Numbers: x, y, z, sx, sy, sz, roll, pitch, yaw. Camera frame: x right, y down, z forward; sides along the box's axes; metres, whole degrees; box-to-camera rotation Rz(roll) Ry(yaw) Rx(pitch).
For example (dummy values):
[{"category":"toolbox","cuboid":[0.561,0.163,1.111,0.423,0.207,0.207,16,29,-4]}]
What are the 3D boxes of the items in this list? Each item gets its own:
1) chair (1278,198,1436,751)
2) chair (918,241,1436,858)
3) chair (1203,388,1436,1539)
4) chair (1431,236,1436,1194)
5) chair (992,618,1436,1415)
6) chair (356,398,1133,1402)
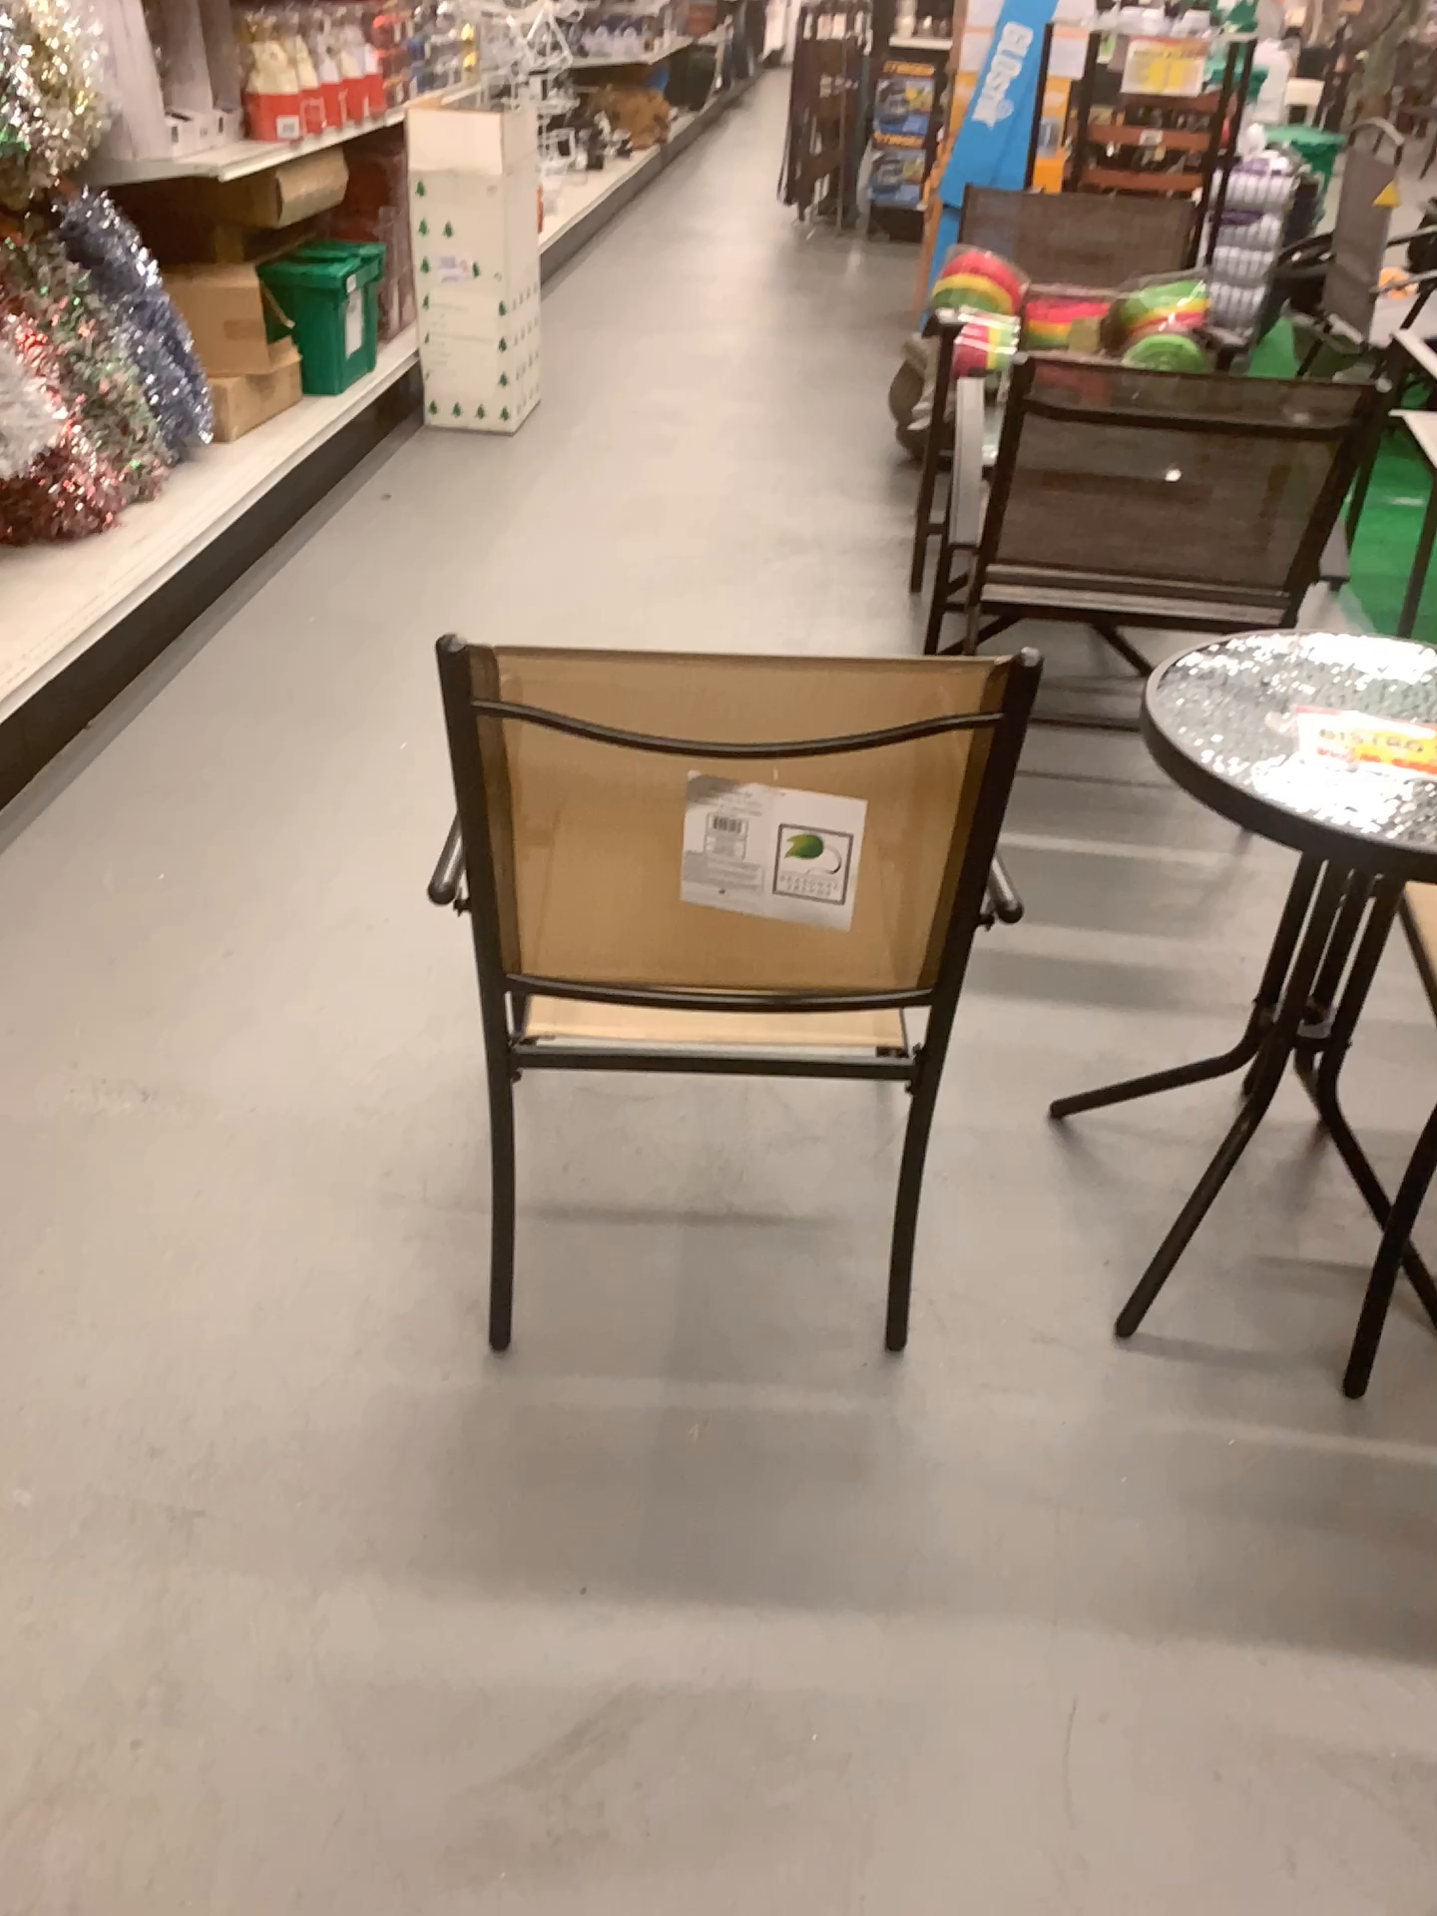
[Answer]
[{"category":"chair","cuboid":[1.816,-1.113,3.285,0.674,0.922,0.890,6,35,3]},{"category":"chair","cuboid":[0.759,-0.788,2.696,0.674,0.802,0.890,6,35,3]},{"category":"chair","cuboid":[0.986,-0.007,1.519,0.614,0.922,0.679,5,34,3]},{"category":"chair","cuboid":[1.772,-0.415,2.154,0.804,0.981,1.031,6,35,3]},{"category":"chair","cuboid":[0.635,0.049,1.614,0.524,0.633,0.548,5,34,2]},{"category":"chair","cuboid":[-0.003,-0.062,1.573,0.574,0.862,0.619,2,34,-2]}]
